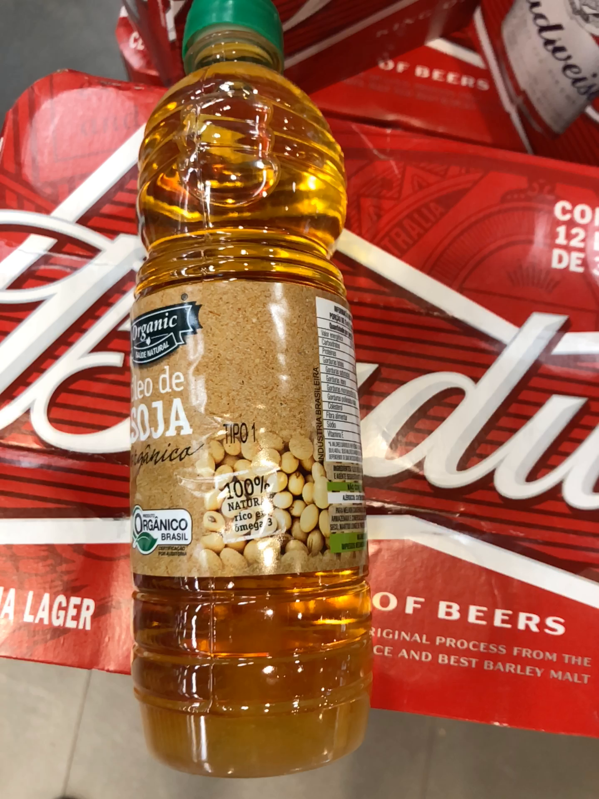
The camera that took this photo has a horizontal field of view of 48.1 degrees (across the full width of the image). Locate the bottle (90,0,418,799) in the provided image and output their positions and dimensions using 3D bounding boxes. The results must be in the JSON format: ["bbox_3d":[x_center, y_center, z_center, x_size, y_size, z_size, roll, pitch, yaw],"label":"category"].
[{"bbox_3d":[-0.017,-0.030,0.191,0.060,0.060,0.240,6,78,-41],"label":"bottle"}]
